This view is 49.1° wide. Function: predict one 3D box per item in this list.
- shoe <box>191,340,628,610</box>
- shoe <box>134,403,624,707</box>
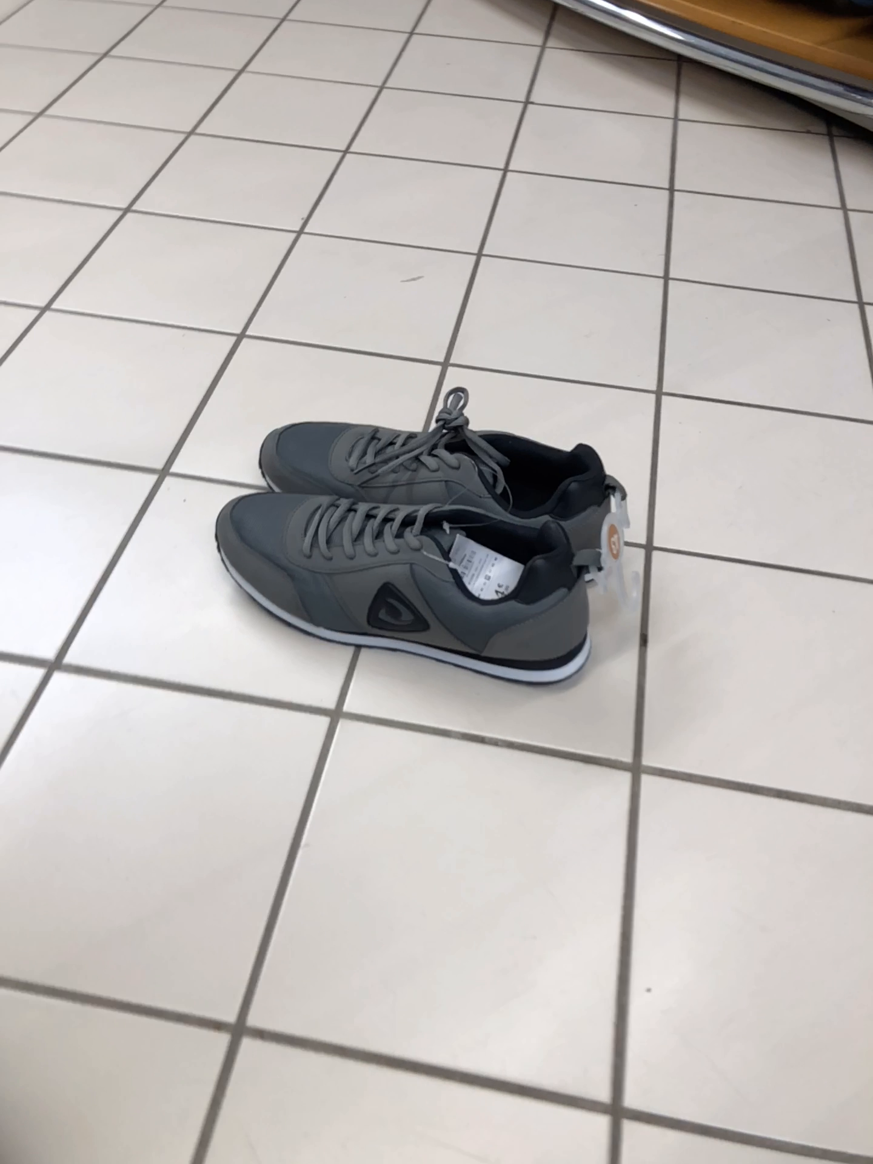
[{"bbox_3d":[-0.018,-0.082,0.708,0.290,0.099,0.101,13,49,10],"label":"shoe"},{"bbox_3d":[-0.035,-0.021,0.636,0.290,0.099,0.101,13,49,10],"label":"shoe"}]
